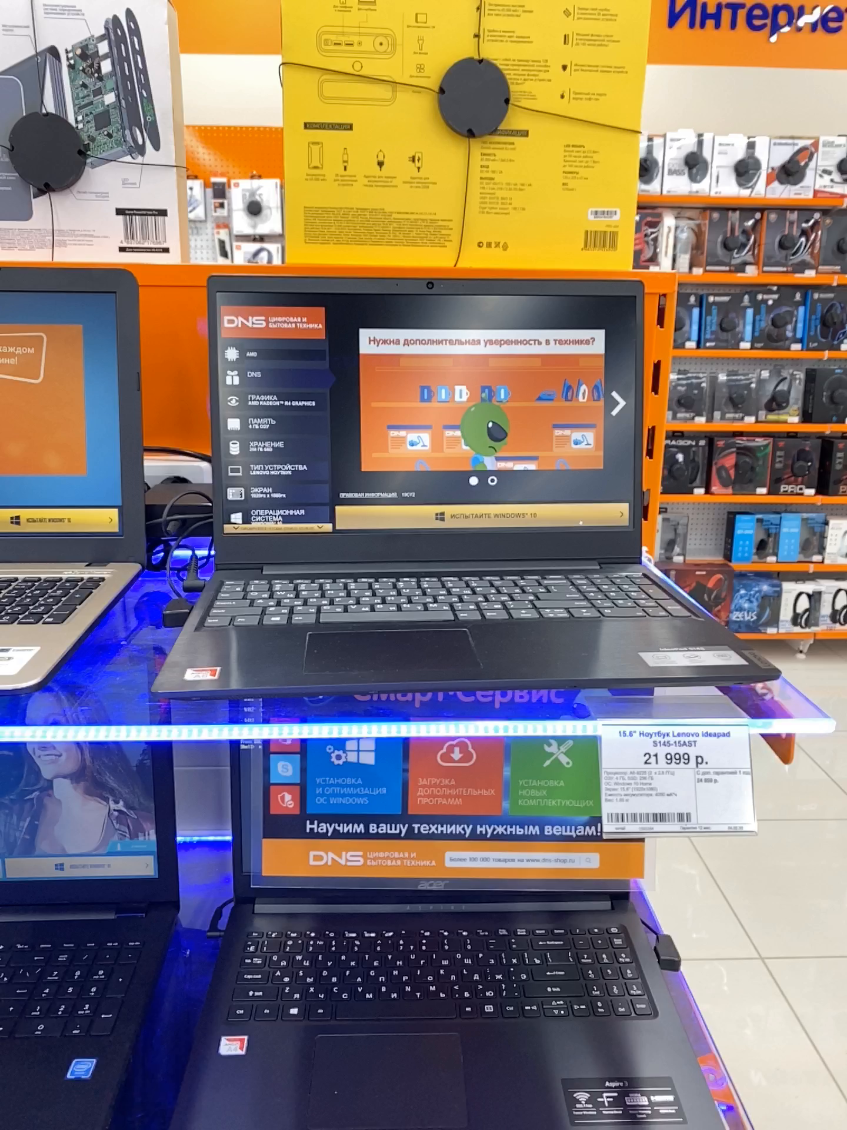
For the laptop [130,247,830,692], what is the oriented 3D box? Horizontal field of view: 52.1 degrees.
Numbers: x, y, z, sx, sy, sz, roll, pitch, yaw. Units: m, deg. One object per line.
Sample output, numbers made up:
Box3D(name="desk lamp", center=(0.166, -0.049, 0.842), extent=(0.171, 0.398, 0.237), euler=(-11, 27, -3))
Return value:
Box3D(name="laptop", center=(0.020, -0.085, 0.610), extent=(0.358, 0.233, 0.298), euler=(-1, 14, -5))
